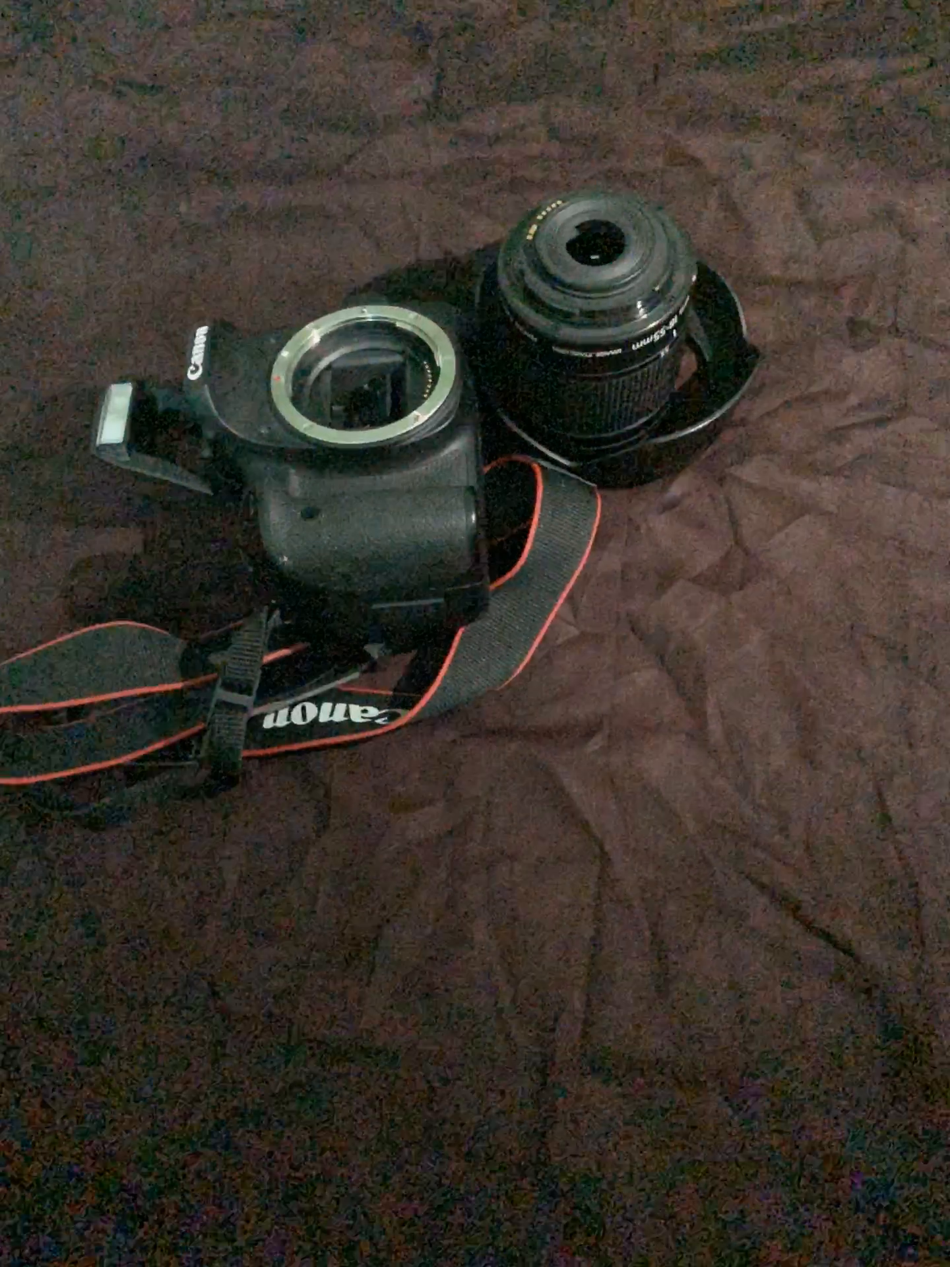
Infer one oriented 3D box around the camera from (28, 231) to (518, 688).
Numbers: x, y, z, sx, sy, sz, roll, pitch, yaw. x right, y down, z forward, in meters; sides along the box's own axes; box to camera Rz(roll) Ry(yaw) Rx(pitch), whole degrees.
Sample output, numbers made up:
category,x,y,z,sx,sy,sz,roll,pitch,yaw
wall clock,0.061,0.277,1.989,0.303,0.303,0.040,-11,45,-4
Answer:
category,x,y,z,sx,sy,sz,roll,pitch,yaw
camera,-0.064,-0.068,0.373,0.150,0.082,0.147,-4,56,0
